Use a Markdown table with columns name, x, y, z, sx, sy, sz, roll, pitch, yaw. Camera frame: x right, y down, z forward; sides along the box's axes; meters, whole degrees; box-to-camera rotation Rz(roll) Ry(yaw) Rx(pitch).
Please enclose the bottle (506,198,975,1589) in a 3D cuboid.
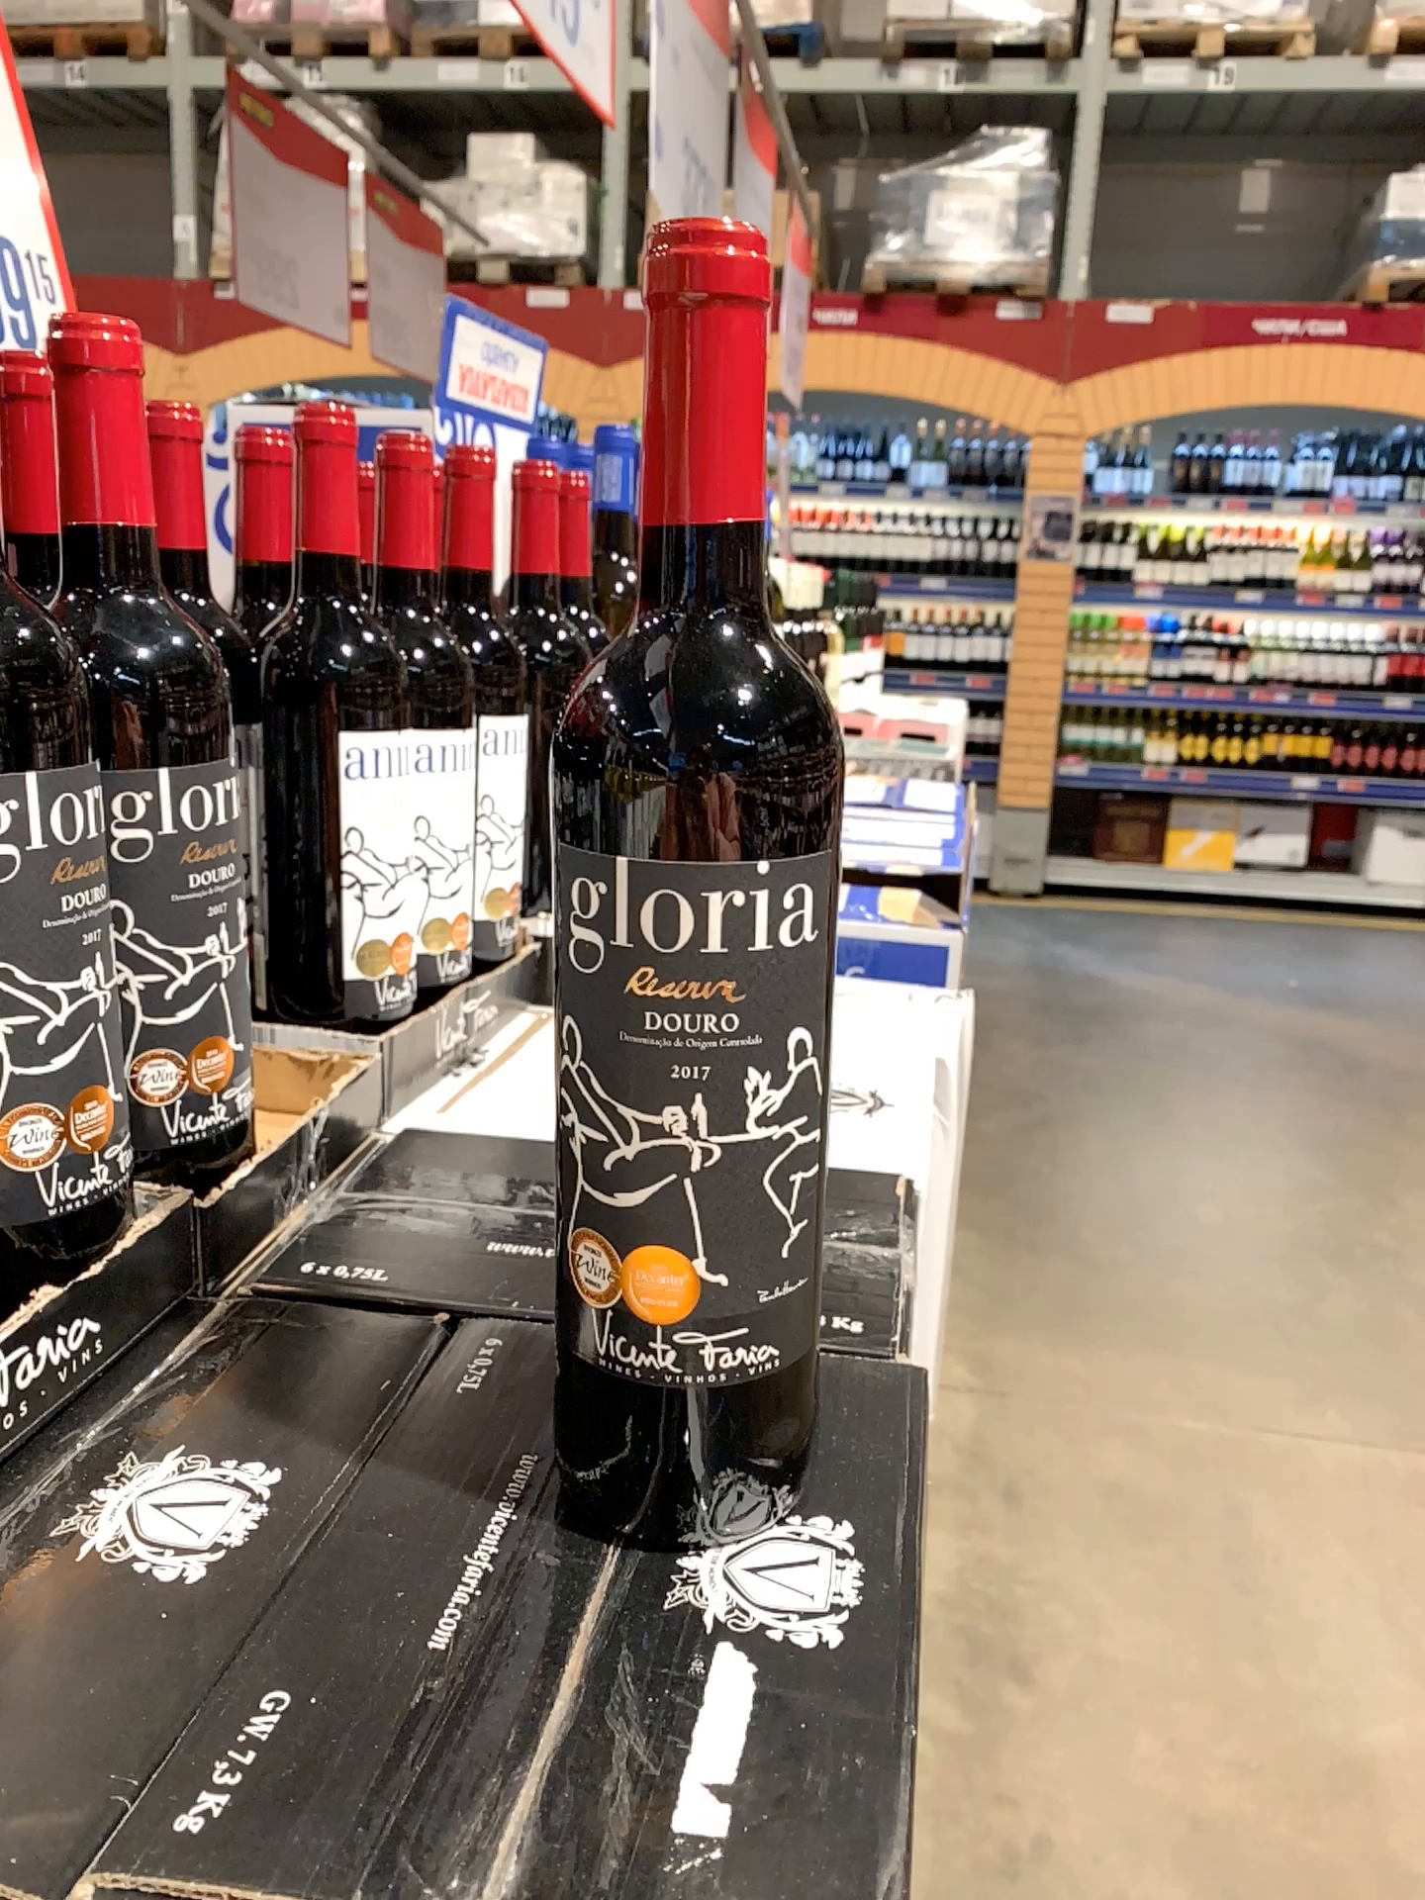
| name | x | y | z | sx | sy | sz | roll | pitch | yaw |
| --- | --- | --- | --- | --- | --- | --- | --- | --- | --- |
| bottle | 0.000 | -0.004 | 0.373 | 0.090 | 0.319 | 0.080 | 2 | 13 | -2 |
